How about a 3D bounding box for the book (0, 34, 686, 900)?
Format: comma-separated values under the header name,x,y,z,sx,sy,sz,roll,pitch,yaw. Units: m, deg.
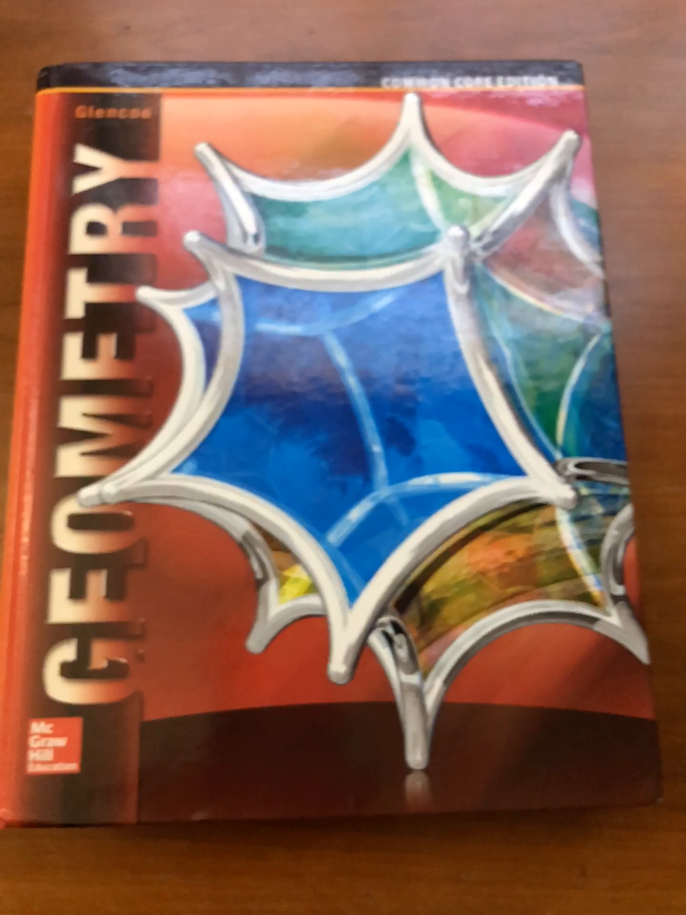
name,x,y,z,sx,sy,sz,roll,pitch,yaw
book,-0.001,-0.013,0.299,0.229,0.050,0.310,-1,76,-1
